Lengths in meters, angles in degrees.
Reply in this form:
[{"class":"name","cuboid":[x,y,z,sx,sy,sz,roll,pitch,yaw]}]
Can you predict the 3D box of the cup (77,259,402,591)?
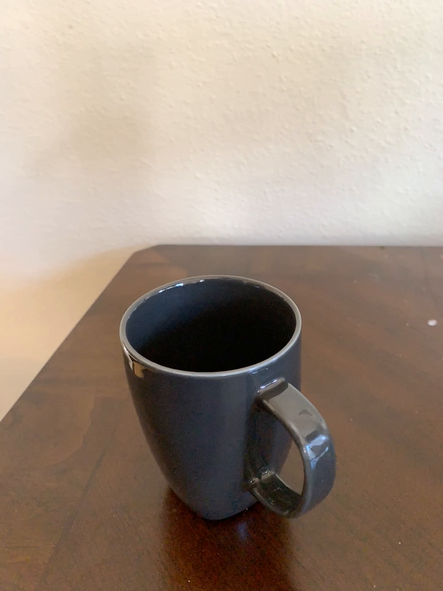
[{"class":"cup","cuboid":[0.006,0.055,0.217,0.089,0.096,0.107,-24,34,-32]}]
